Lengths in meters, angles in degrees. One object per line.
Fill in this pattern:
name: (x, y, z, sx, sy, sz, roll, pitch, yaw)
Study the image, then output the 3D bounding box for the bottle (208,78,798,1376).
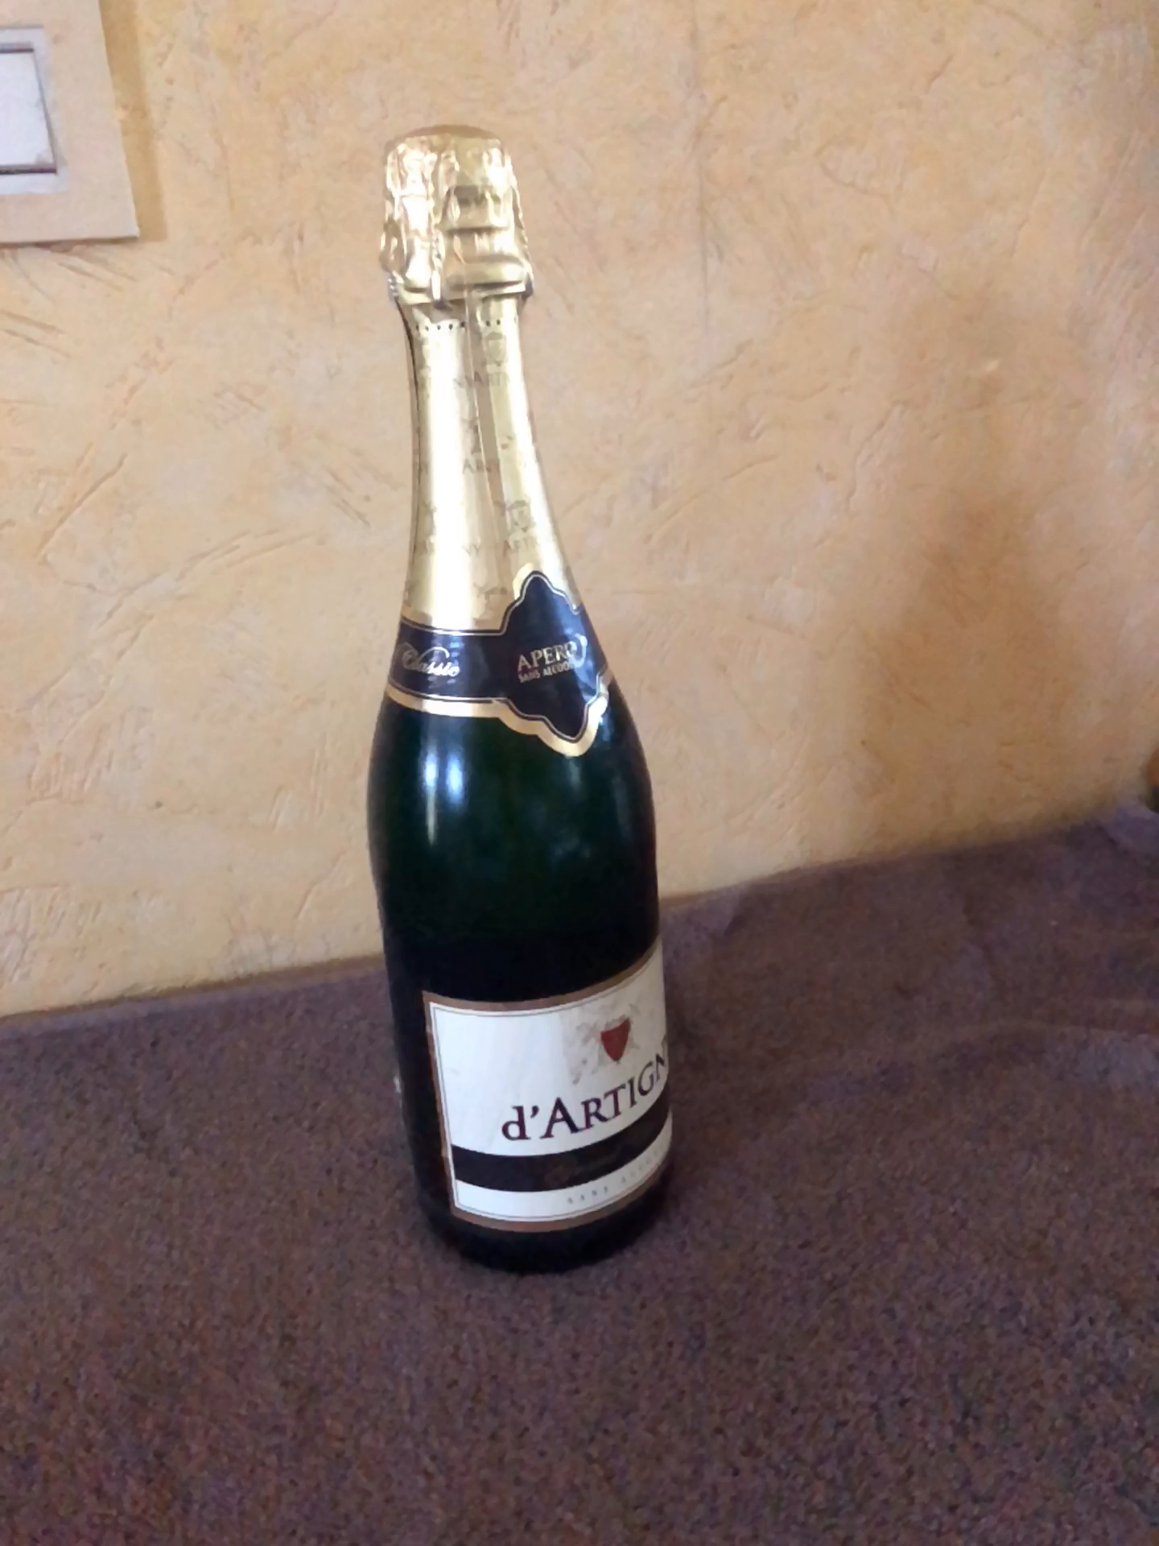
bottle: (-0.011, -0.008, 0.361, 0.100, 0.318, 0.100, -4, 21, 1)
